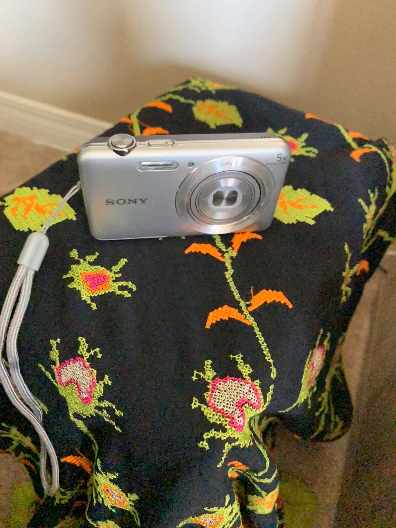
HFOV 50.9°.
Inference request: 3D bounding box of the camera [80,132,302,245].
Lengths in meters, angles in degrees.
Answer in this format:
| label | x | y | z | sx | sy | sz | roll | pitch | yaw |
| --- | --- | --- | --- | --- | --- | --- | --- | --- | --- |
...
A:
| label | x | y | z | sx | sy | sz | roll | pitch | yaw |
| --- | --- | --- | --- | --- | --- | --- | --- | --- | --- |
| camera | -0.004 | -0.033 | 0.182 | 0.086 | 0.042 | 0.020 | -4 | 49 | -9 |
